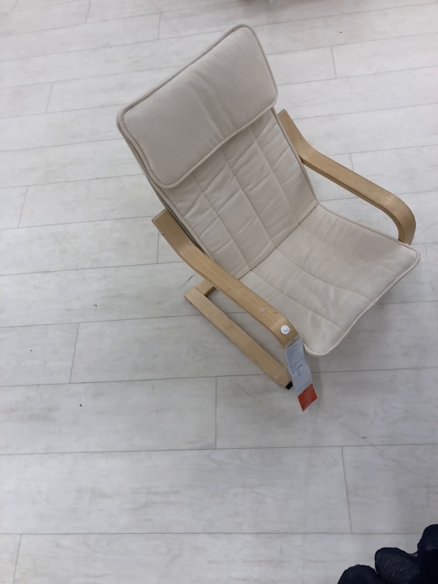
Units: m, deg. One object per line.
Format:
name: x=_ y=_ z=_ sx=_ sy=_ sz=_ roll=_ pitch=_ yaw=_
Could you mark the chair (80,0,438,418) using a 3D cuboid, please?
chair: x=0.160 y=-0.164 z=1.177 sx=0.530 sy=0.689 sz=0.561 roll=-43 pitch=63 yaw=-15
